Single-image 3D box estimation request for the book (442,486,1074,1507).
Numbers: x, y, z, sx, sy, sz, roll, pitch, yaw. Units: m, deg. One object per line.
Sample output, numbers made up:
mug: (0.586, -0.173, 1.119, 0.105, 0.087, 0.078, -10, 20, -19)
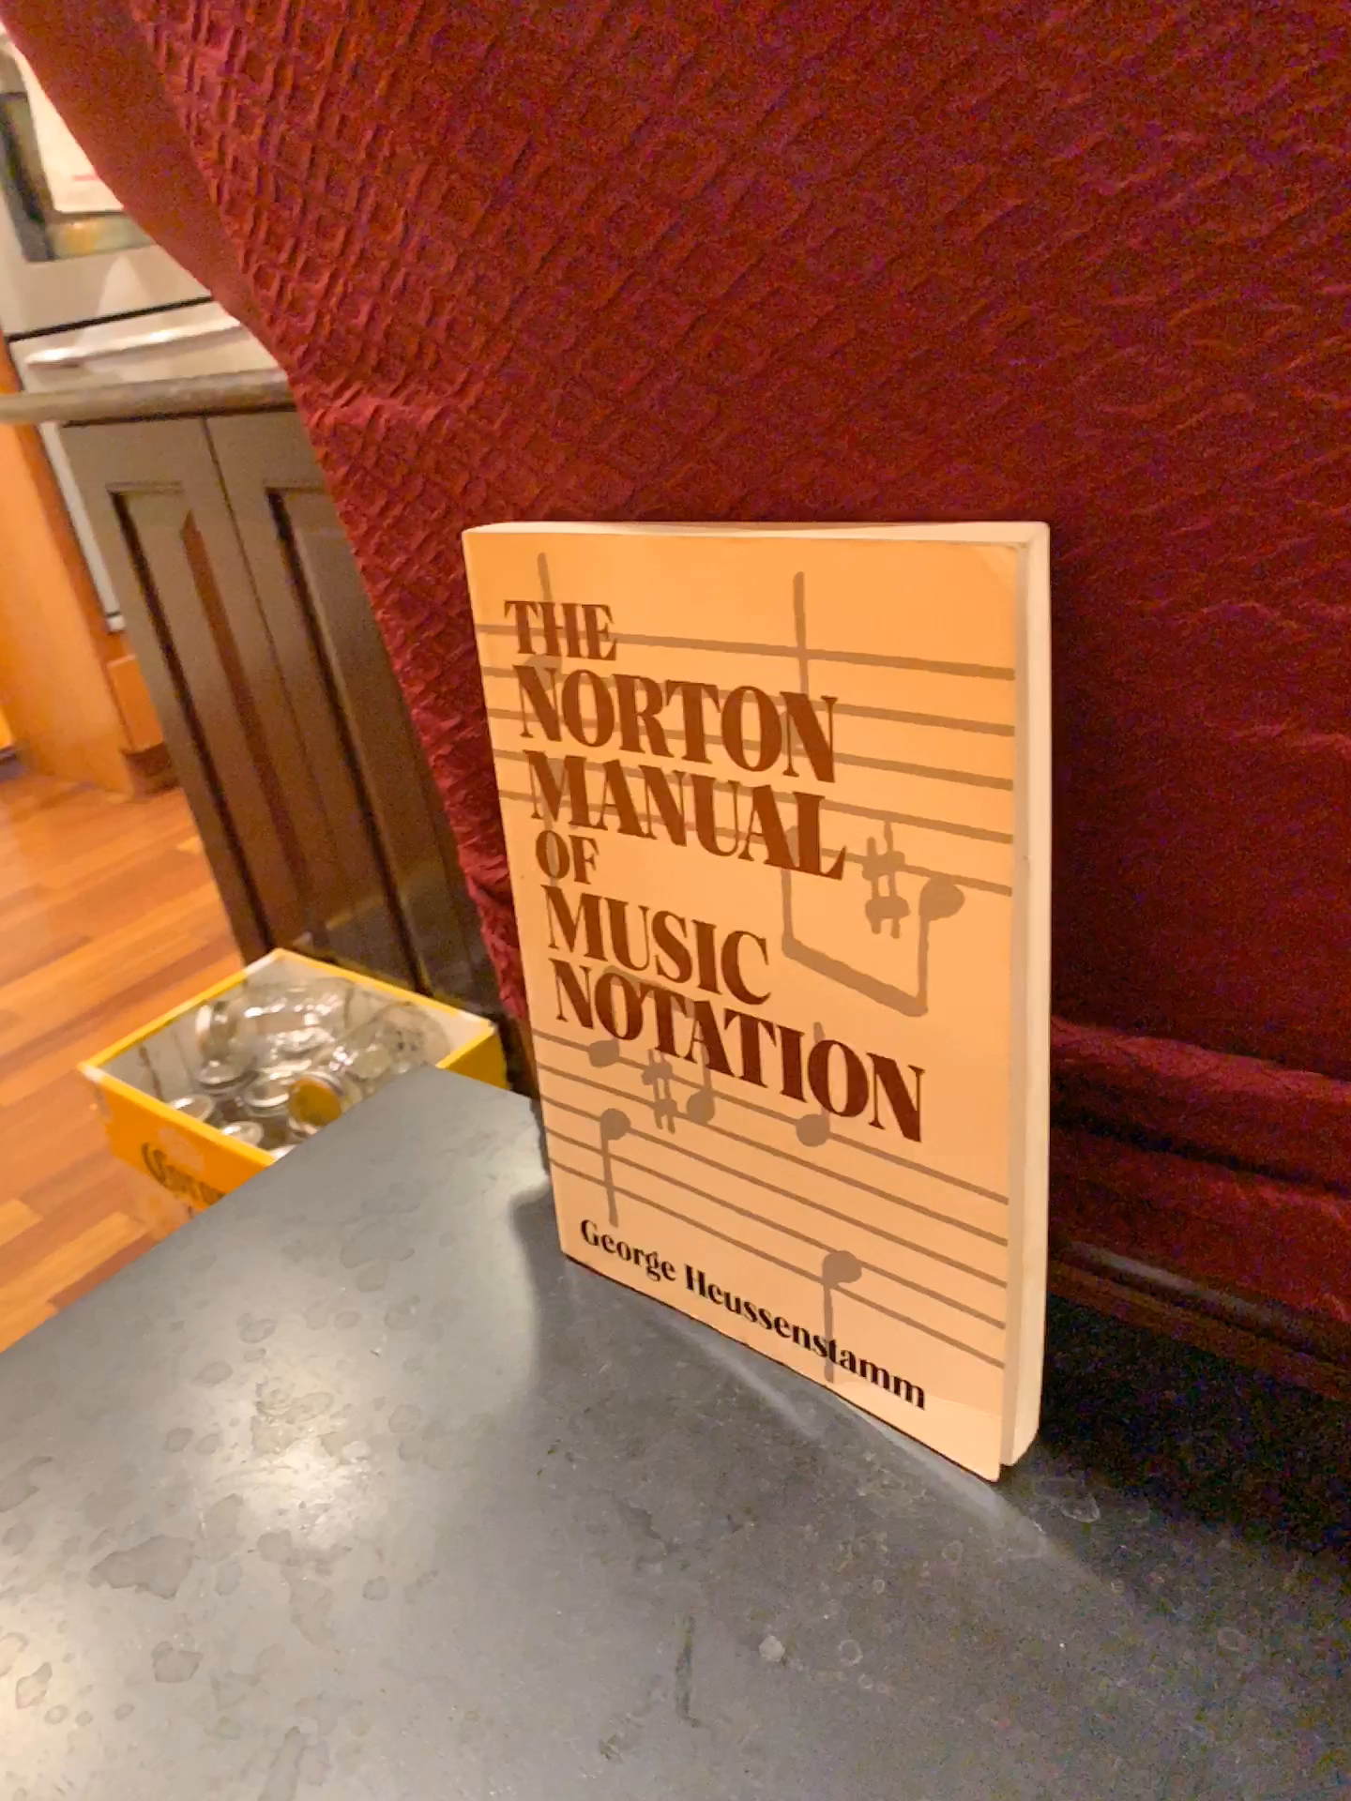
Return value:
book: (0.021, 0.019, 0.394, 0.181, 0.259, 0.030, 14, 28, 41)
